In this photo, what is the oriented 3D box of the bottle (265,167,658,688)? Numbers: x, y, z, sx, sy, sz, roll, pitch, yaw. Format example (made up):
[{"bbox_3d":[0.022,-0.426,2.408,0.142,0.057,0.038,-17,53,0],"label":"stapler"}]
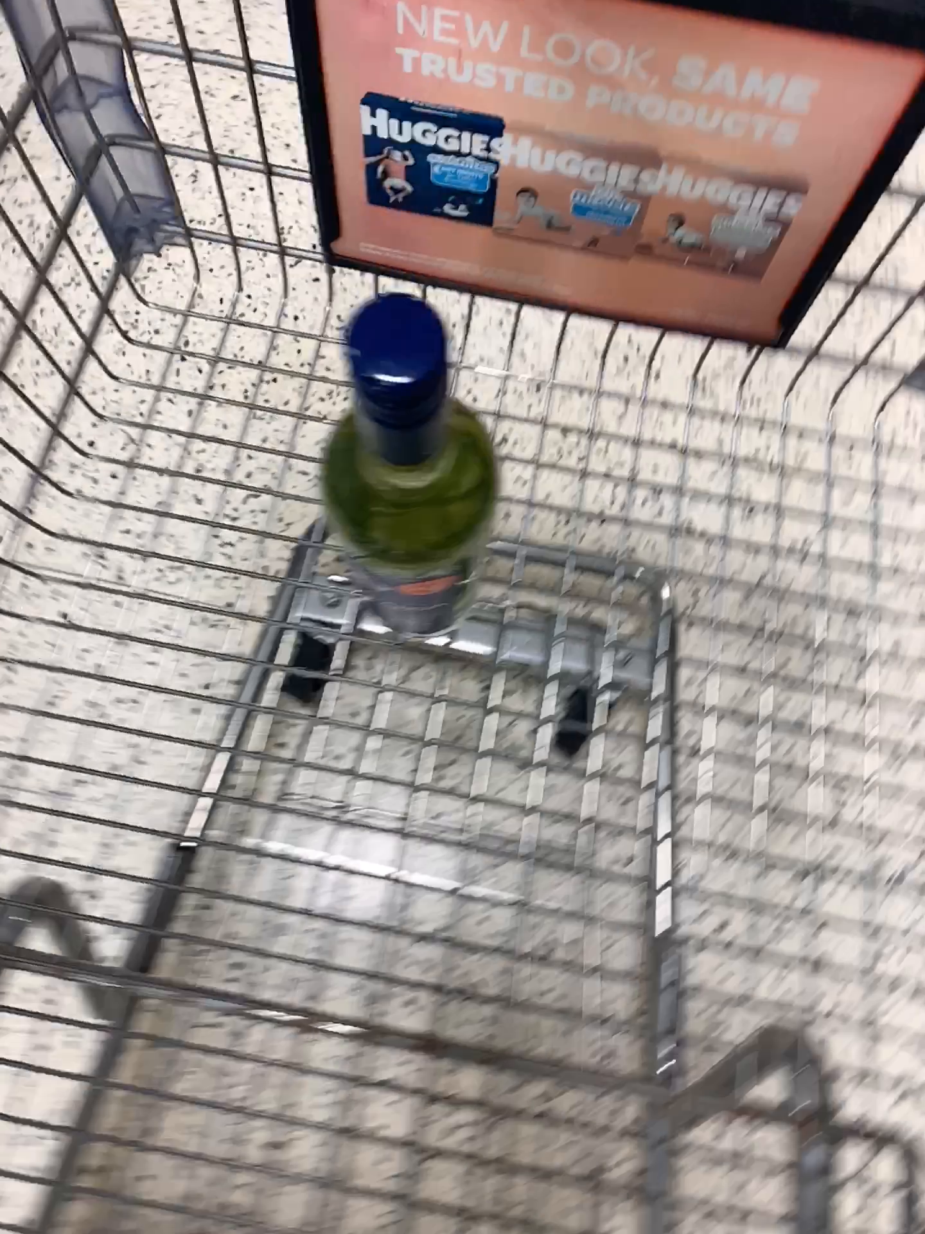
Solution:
[{"bbox_3d":[-0.012,-0.050,0.416,0.090,0.279,0.080,31,75,3],"label":"bottle"}]
